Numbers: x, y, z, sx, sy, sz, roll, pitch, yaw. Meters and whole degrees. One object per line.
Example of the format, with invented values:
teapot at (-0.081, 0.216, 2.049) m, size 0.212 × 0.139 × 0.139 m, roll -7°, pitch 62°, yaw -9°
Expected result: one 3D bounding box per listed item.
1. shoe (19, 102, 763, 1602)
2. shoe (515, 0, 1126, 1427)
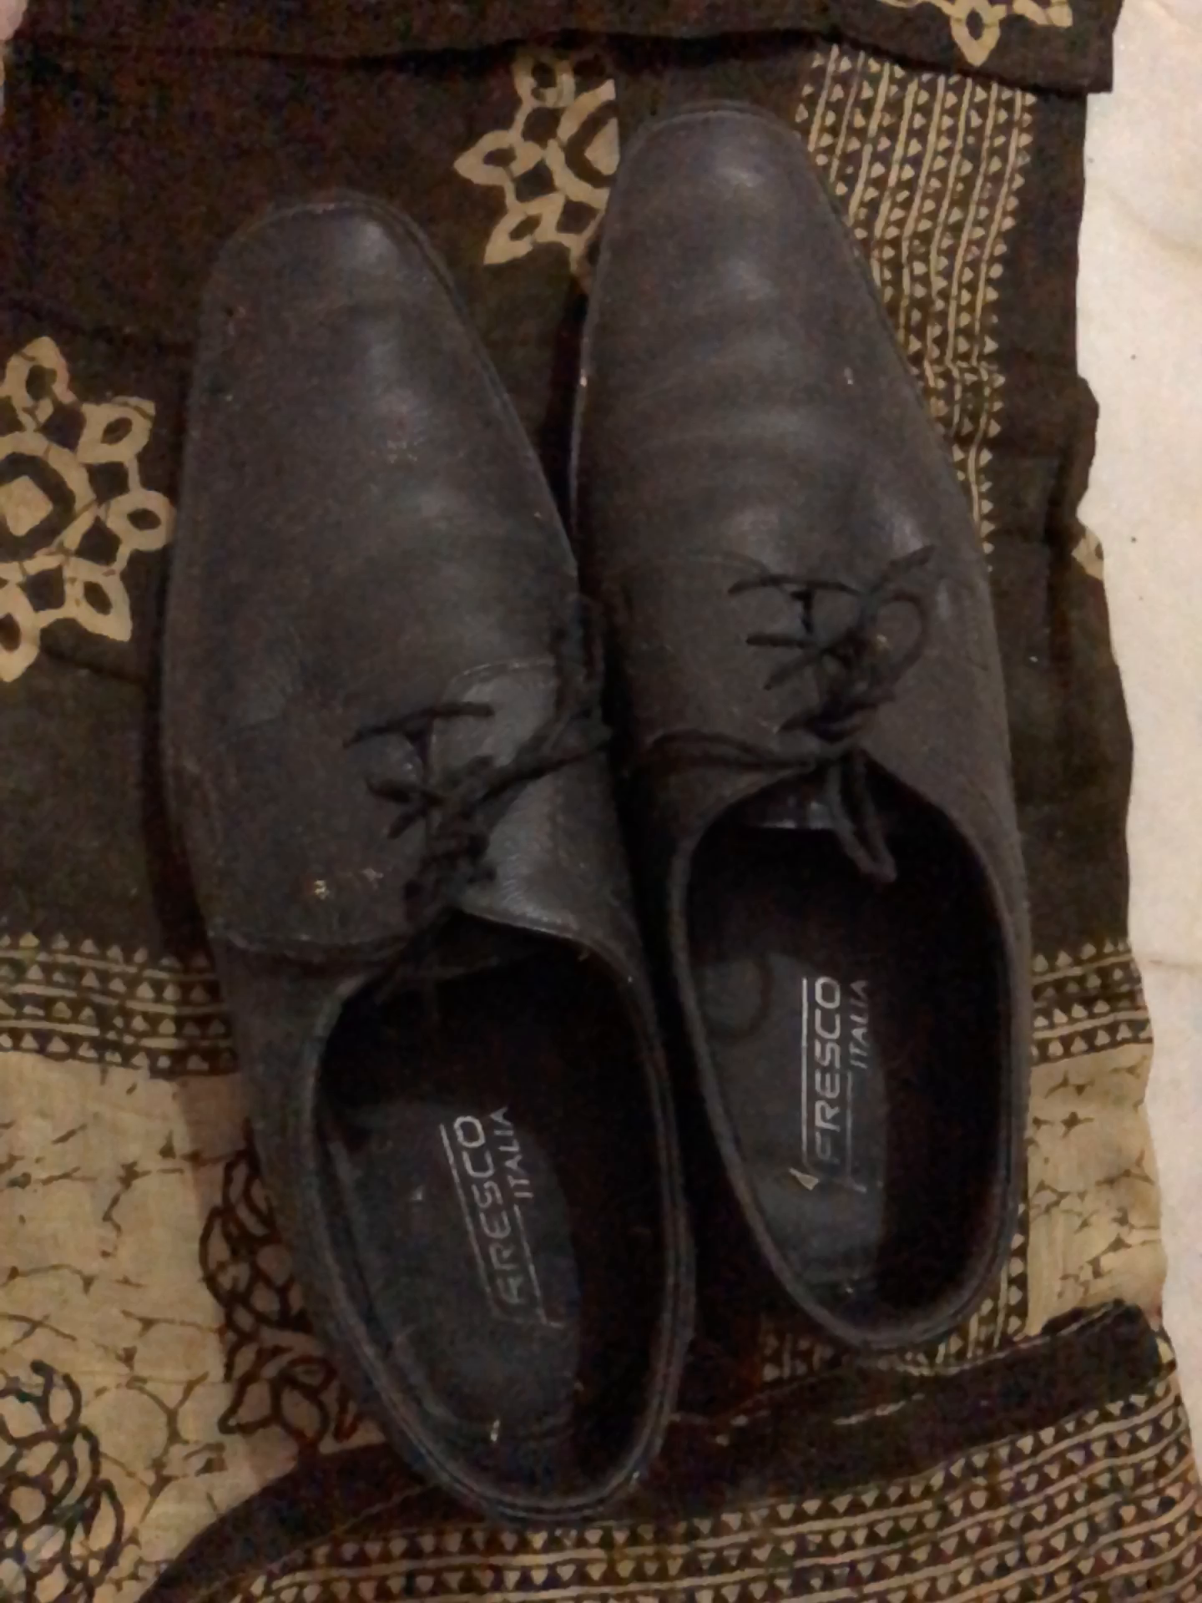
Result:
shoe at (-0.053, 0.011, 0.336) m, size 0.110 × 0.070 × 0.340 m, roll -10°, pitch 86°, yaw -8°
shoe at (0.048, -0.033, 0.348) m, size 0.110 × 0.070 × 0.340 m, roll -4°, pitch 85°, yaw -7°
